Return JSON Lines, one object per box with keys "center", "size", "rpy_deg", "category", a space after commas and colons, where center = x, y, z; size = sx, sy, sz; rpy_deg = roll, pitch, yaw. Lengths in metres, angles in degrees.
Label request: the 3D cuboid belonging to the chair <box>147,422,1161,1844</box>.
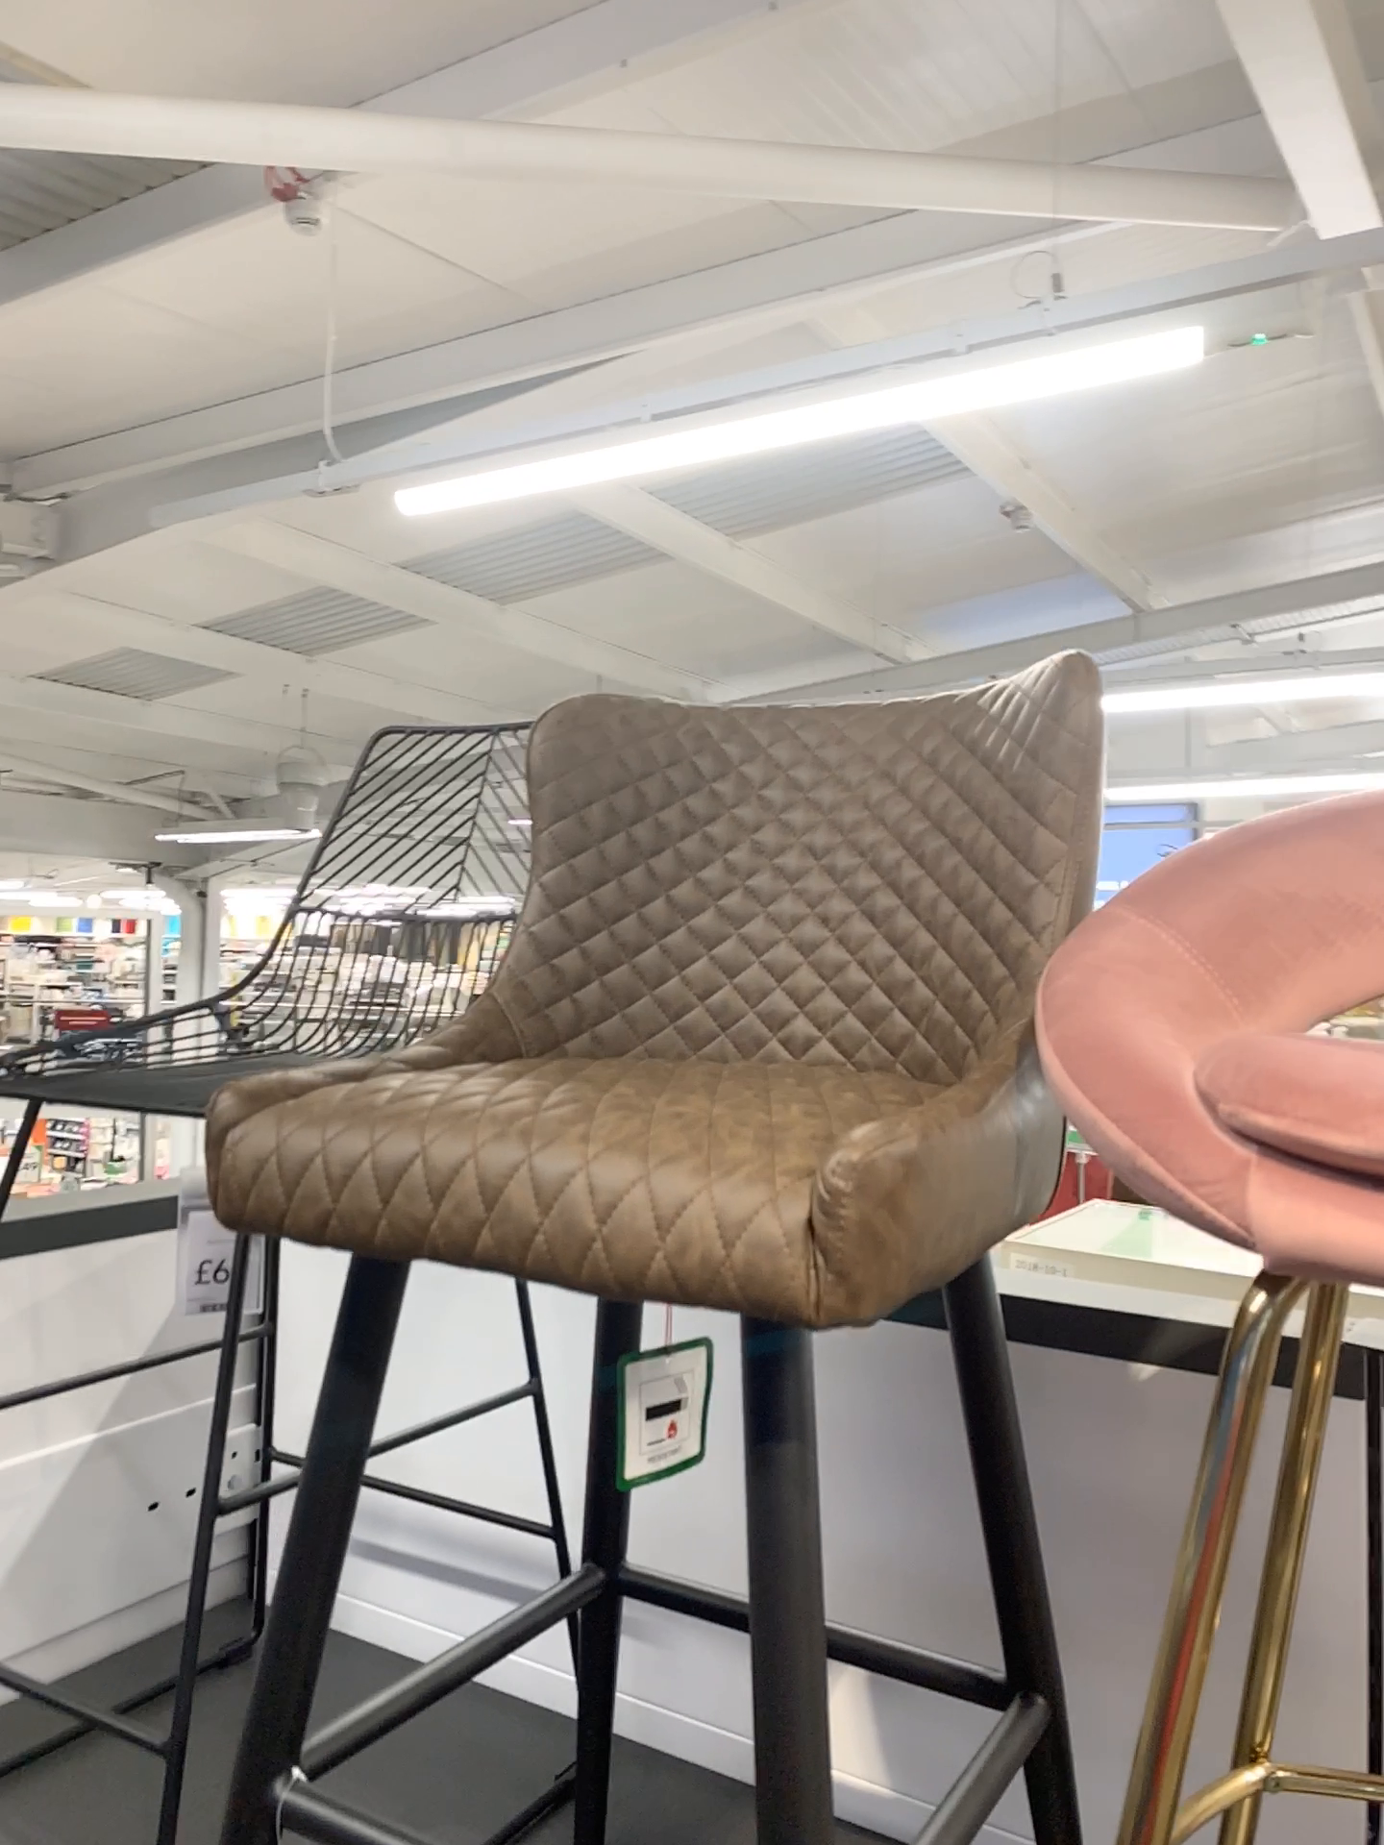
{"center": [0.009, 0.266, 0.954], "size": [0.535, 0.996, 0.465], "rpy_deg": [0, 0, 25], "category": "chair"}
